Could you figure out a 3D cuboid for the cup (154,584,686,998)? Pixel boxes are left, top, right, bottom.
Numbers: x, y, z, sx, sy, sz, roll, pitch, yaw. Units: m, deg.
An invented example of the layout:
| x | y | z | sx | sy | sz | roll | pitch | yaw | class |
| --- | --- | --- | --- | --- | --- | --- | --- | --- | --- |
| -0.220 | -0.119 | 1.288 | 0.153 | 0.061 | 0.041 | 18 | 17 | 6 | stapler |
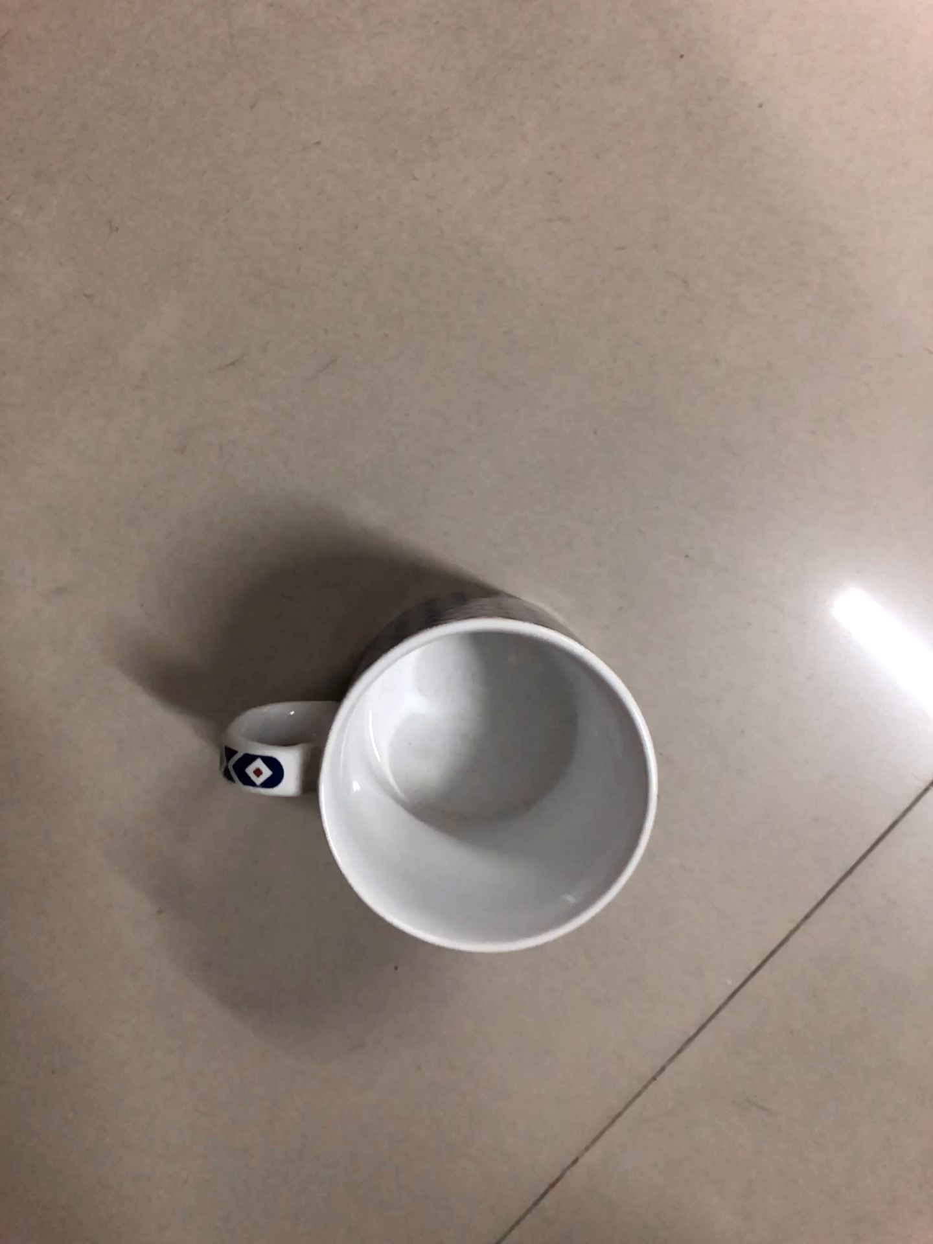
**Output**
| x | y | z | sx | sy | sz | roll | pitch | yaw | class |
| --- | --- | --- | --- | --- | --- | --- | --- | --- | --- |
| -0.012 | 0.036 | 0.261 | 0.110 | 0.080 | 0.080 | 2 | 97 | -2 | cup |
